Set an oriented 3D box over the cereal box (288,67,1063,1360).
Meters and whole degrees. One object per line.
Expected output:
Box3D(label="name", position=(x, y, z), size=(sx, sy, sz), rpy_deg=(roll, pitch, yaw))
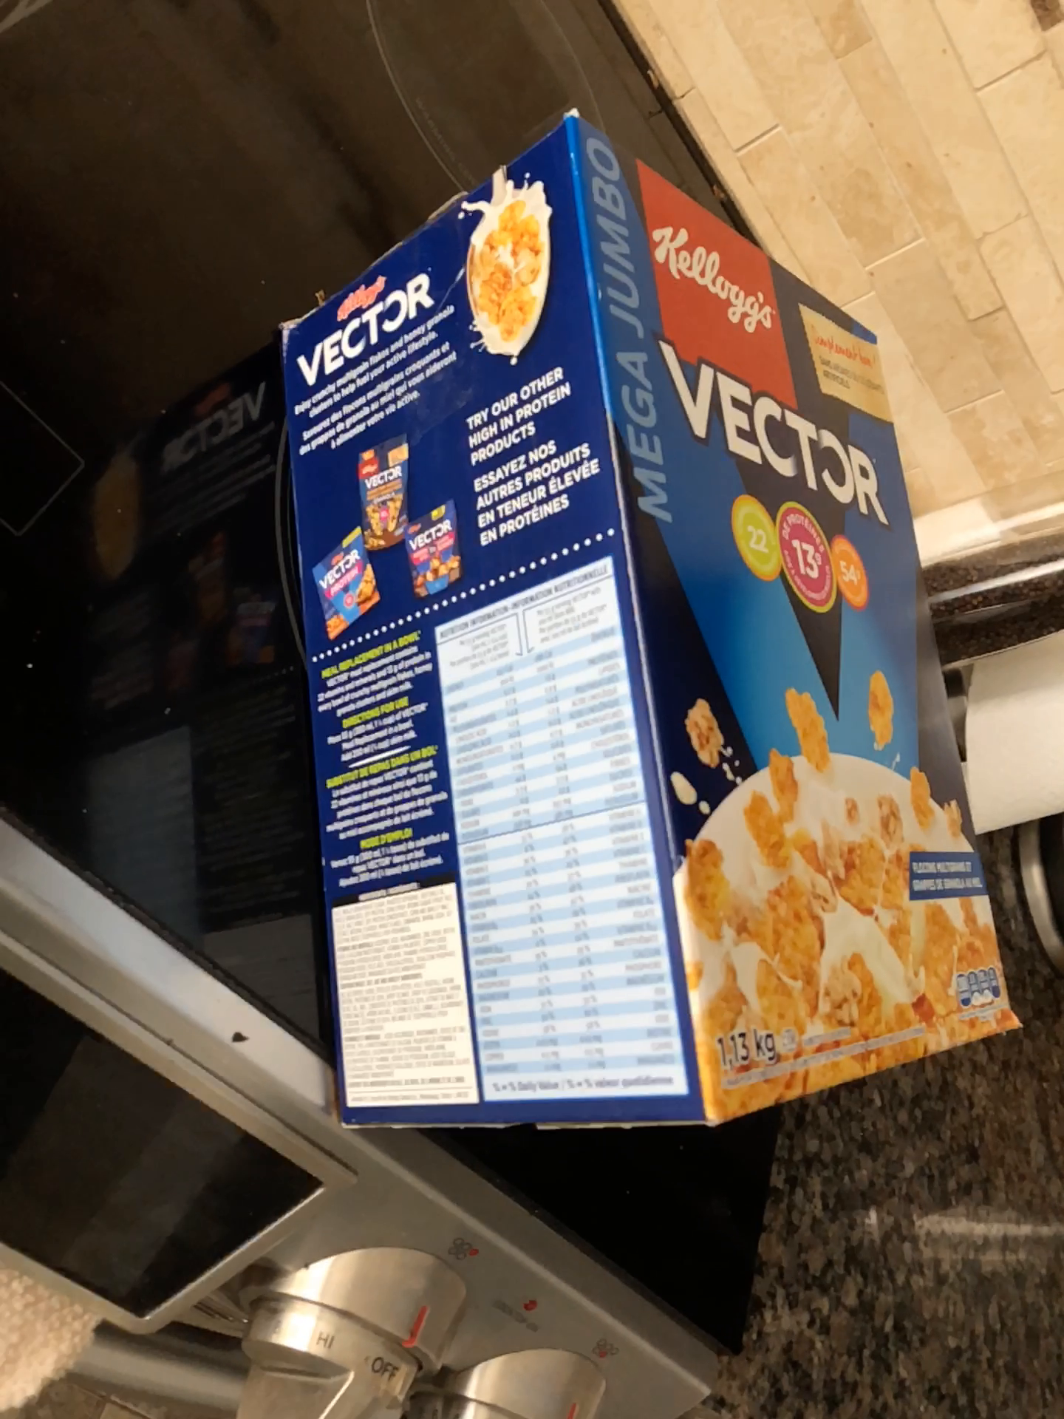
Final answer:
Box3D(label="cereal box", position=(0.060, 0.011, 0.413), size=(0.221, 0.169, 0.310), rpy_deg=(9, 74, -49))
